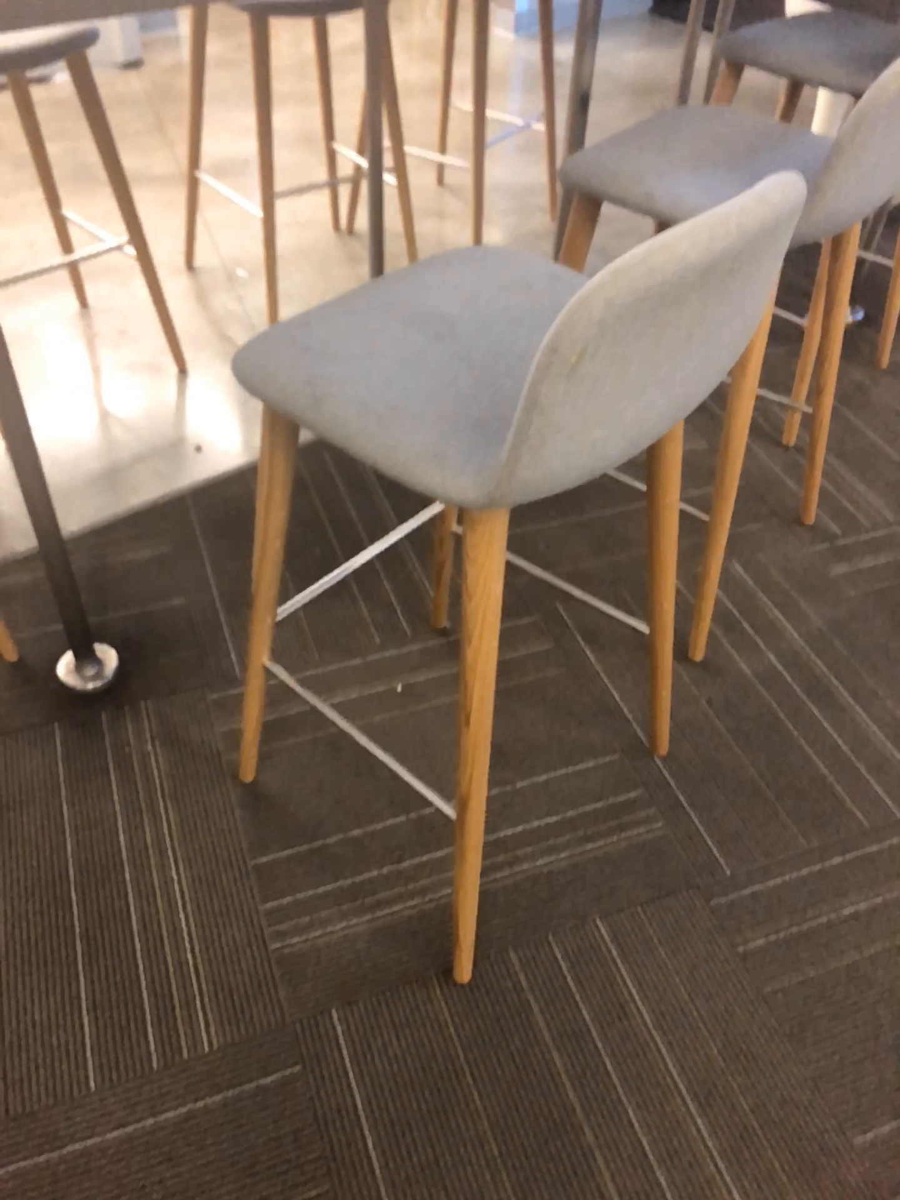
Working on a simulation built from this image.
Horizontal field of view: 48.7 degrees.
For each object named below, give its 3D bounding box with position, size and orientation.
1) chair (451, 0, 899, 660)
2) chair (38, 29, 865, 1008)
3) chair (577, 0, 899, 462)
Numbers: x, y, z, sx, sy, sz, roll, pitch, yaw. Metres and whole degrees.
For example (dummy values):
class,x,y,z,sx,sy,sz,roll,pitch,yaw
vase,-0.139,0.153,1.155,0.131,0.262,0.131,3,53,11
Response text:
class,x,y,z,sx,sy,sz,roll,pitch,yaw
chair,0.405,-0.509,1.699,0.541,0.942,0.574,29,49,26
chair,0.008,-0.087,1.253,0.541,0.942,0.574,29,49,26
chair,0.728,-0.962,2.249,0.541,1.031,0.544,33,51,29
